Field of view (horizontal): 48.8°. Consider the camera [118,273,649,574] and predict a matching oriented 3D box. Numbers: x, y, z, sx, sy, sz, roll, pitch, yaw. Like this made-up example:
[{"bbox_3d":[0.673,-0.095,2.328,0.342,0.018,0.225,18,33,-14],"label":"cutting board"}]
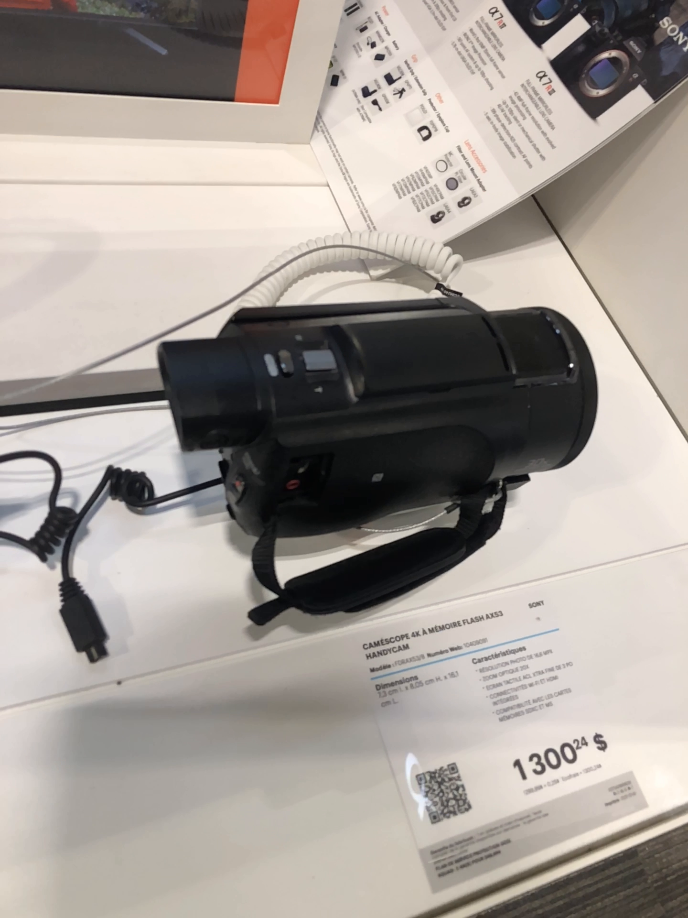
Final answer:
[{"bbox_3d":[0.011,-0.017,0.272,0.168,0.066,0.061,-8,59,-23],"label":"camera"}]
